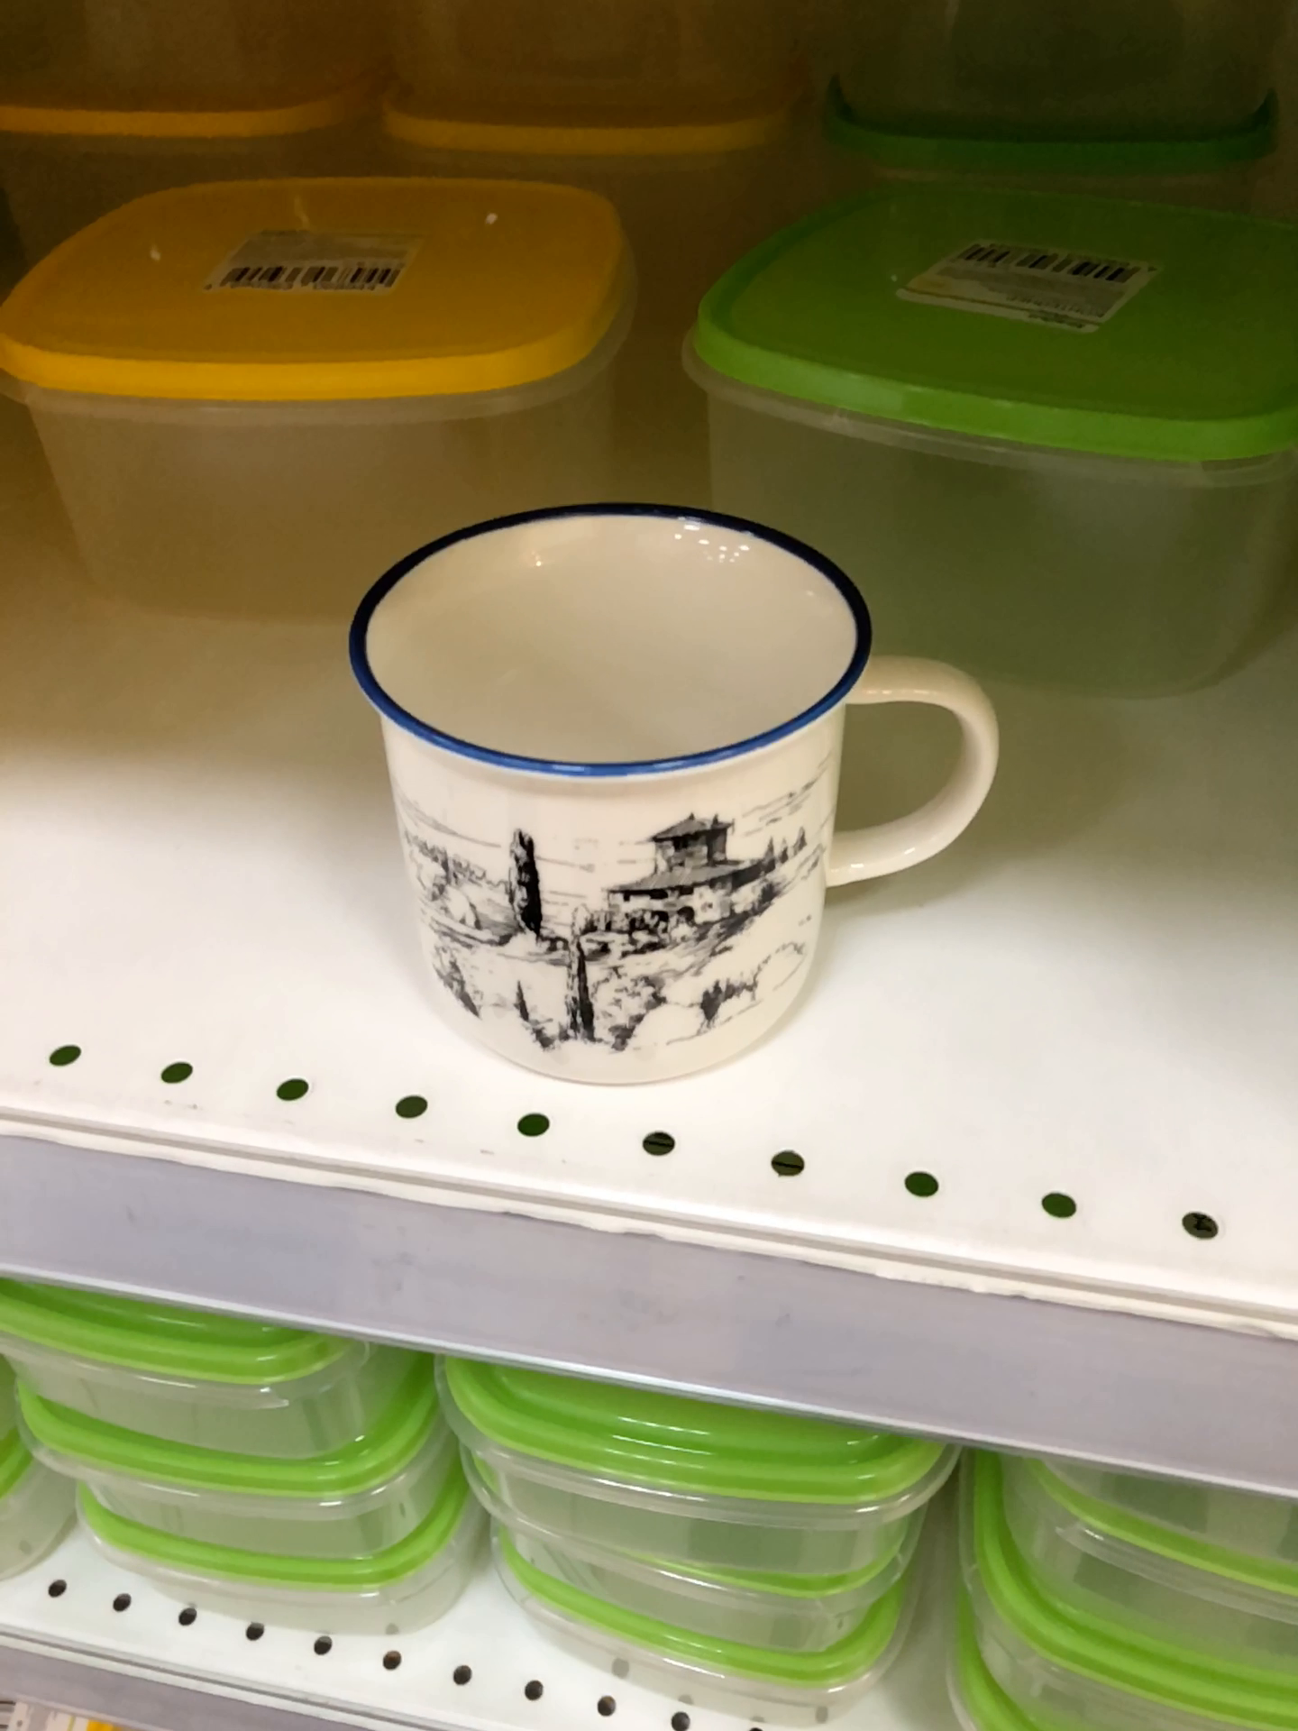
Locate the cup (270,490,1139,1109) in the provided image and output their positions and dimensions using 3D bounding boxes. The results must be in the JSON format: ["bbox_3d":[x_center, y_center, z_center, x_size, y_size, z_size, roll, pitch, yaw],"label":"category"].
[{"bbox_3d":[0.011,-0.017,0.276,0.130,0.068,0.103,1,41,3],"label":"cup"}]
